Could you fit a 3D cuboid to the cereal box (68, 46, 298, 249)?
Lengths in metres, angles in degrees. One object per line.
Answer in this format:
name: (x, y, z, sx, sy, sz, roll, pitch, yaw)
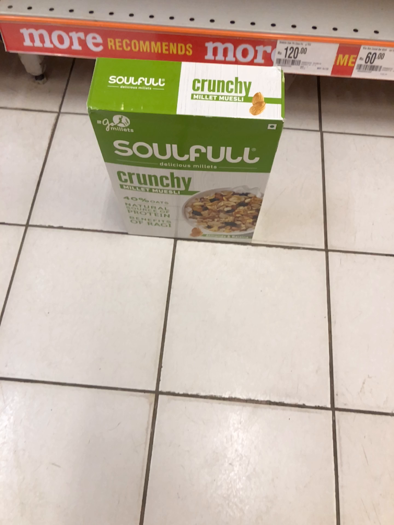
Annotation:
cereal box: (-0.009, -0.100, 0.463, 0.180, 0.239, 0.060, 4, 66, 2)
